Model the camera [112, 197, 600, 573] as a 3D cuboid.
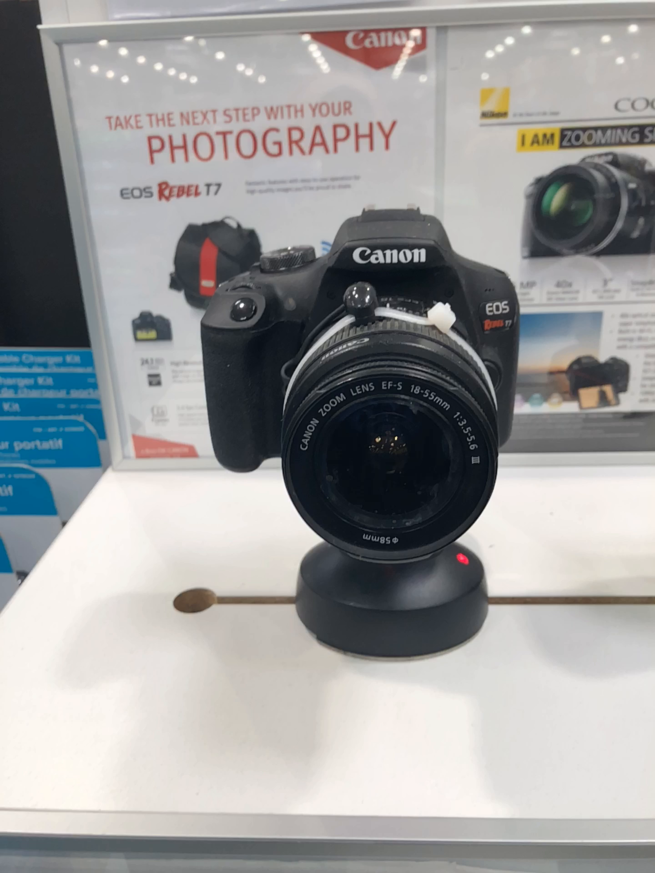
[{"bbox_3d":[0.010,-0.028,0.270,0.130,0.100,0.120,-2,22,2],"label":"camera"}]
